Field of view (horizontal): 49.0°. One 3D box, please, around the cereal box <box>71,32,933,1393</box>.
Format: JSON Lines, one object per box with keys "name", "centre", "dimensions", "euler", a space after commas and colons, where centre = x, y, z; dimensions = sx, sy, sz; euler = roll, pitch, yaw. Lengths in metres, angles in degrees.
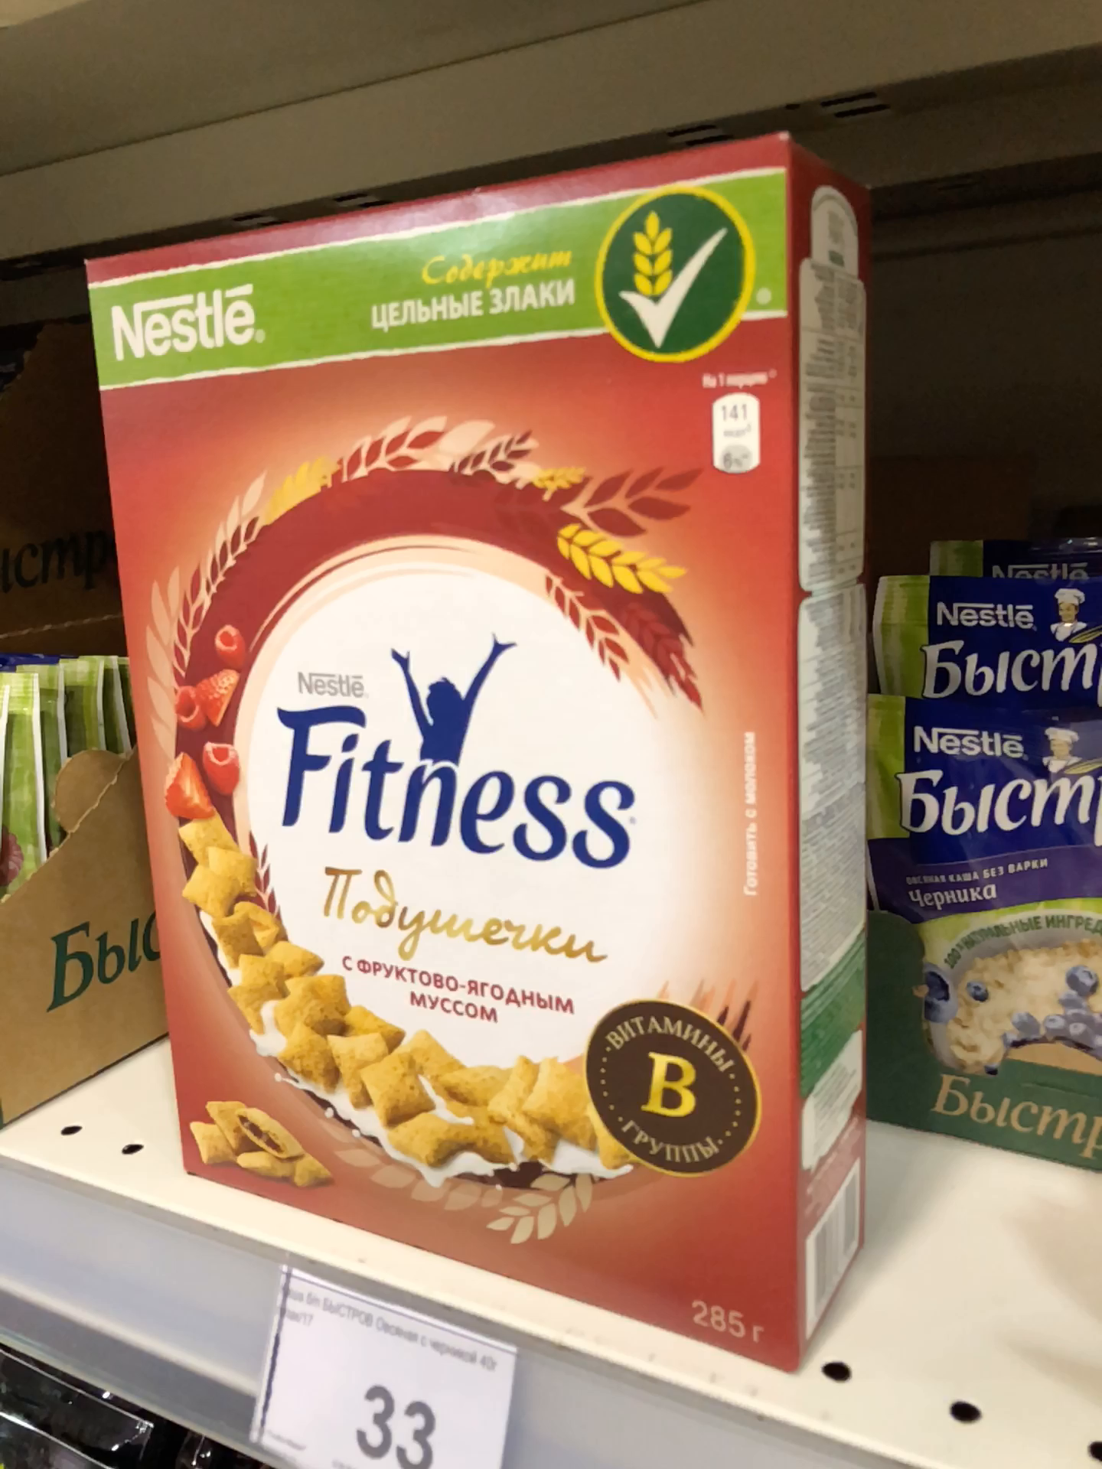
{"name": "cereal box", "centre": [-0.013, -0.002, 0.274], "dimensions": [0.180, 0.239, 0.050], "euler": [4, 13, 29]}
